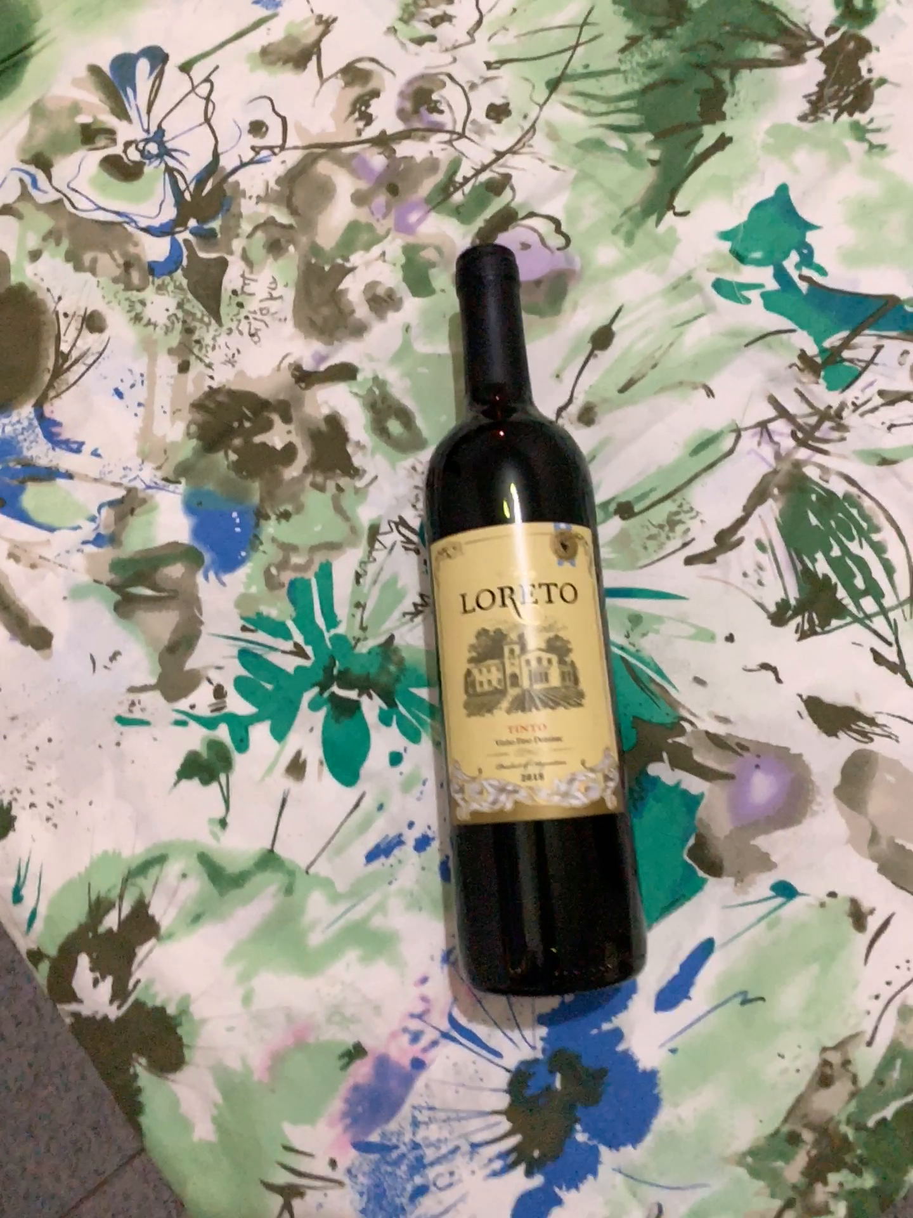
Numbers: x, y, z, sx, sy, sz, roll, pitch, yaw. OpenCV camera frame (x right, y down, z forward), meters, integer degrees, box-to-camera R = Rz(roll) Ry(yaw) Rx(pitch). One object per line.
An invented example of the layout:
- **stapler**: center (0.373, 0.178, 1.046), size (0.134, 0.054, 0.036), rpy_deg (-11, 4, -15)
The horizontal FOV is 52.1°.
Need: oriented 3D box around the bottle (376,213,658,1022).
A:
- **bottle**: center (0.020, -0.004, 0.384), size (0.080, 0.050, 0.310), rpy_deg (-5, 80, 1)
